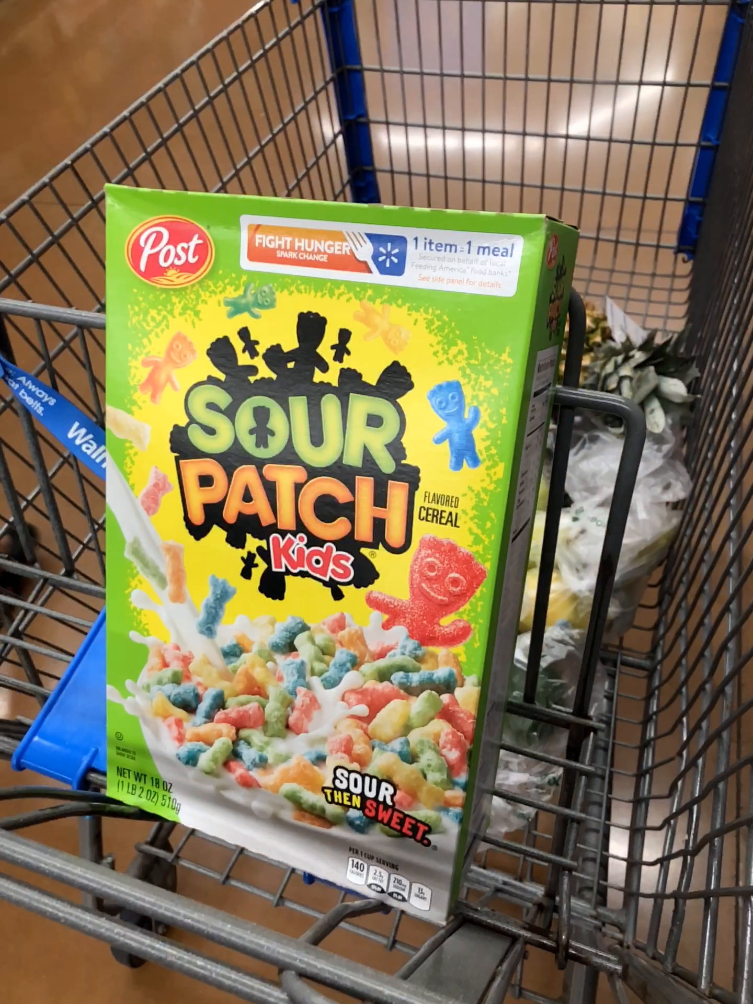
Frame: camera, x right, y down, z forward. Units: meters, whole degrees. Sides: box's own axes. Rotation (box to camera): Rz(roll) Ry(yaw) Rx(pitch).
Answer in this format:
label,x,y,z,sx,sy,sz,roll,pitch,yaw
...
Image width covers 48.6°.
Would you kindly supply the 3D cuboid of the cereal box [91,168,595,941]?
label,x,y,z,sx,sy,sz,roll,pitch,yaw
cereal box,-0.027,0.019,0.402,0.200,0.320,0.080,11,18,20
